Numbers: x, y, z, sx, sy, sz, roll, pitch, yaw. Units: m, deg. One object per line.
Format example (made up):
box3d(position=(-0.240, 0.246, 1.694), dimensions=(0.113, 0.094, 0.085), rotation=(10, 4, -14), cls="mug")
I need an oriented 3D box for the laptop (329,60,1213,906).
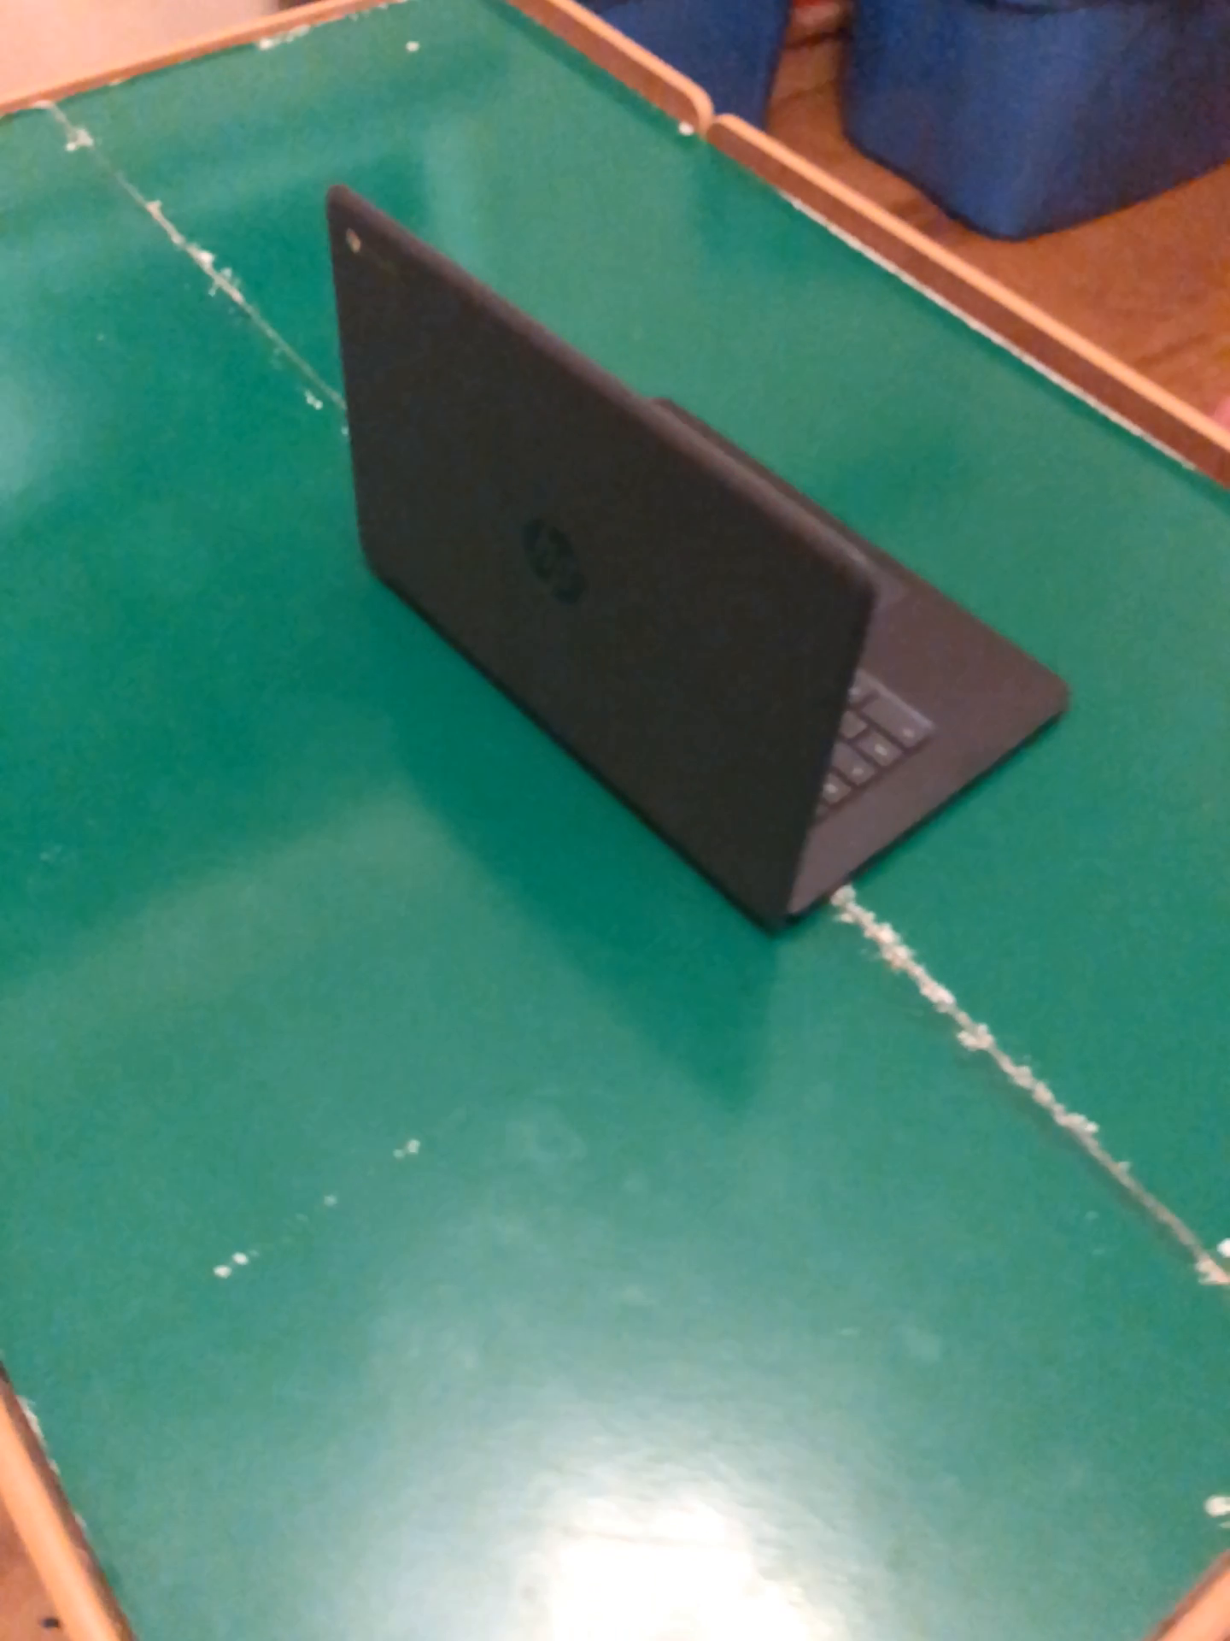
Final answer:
box3d(position=(0.056, -0.172, 0.656), dimensions=(0.211, 0.204, 0.318), rotation=(-35, 62, -25), cls="laptop")
